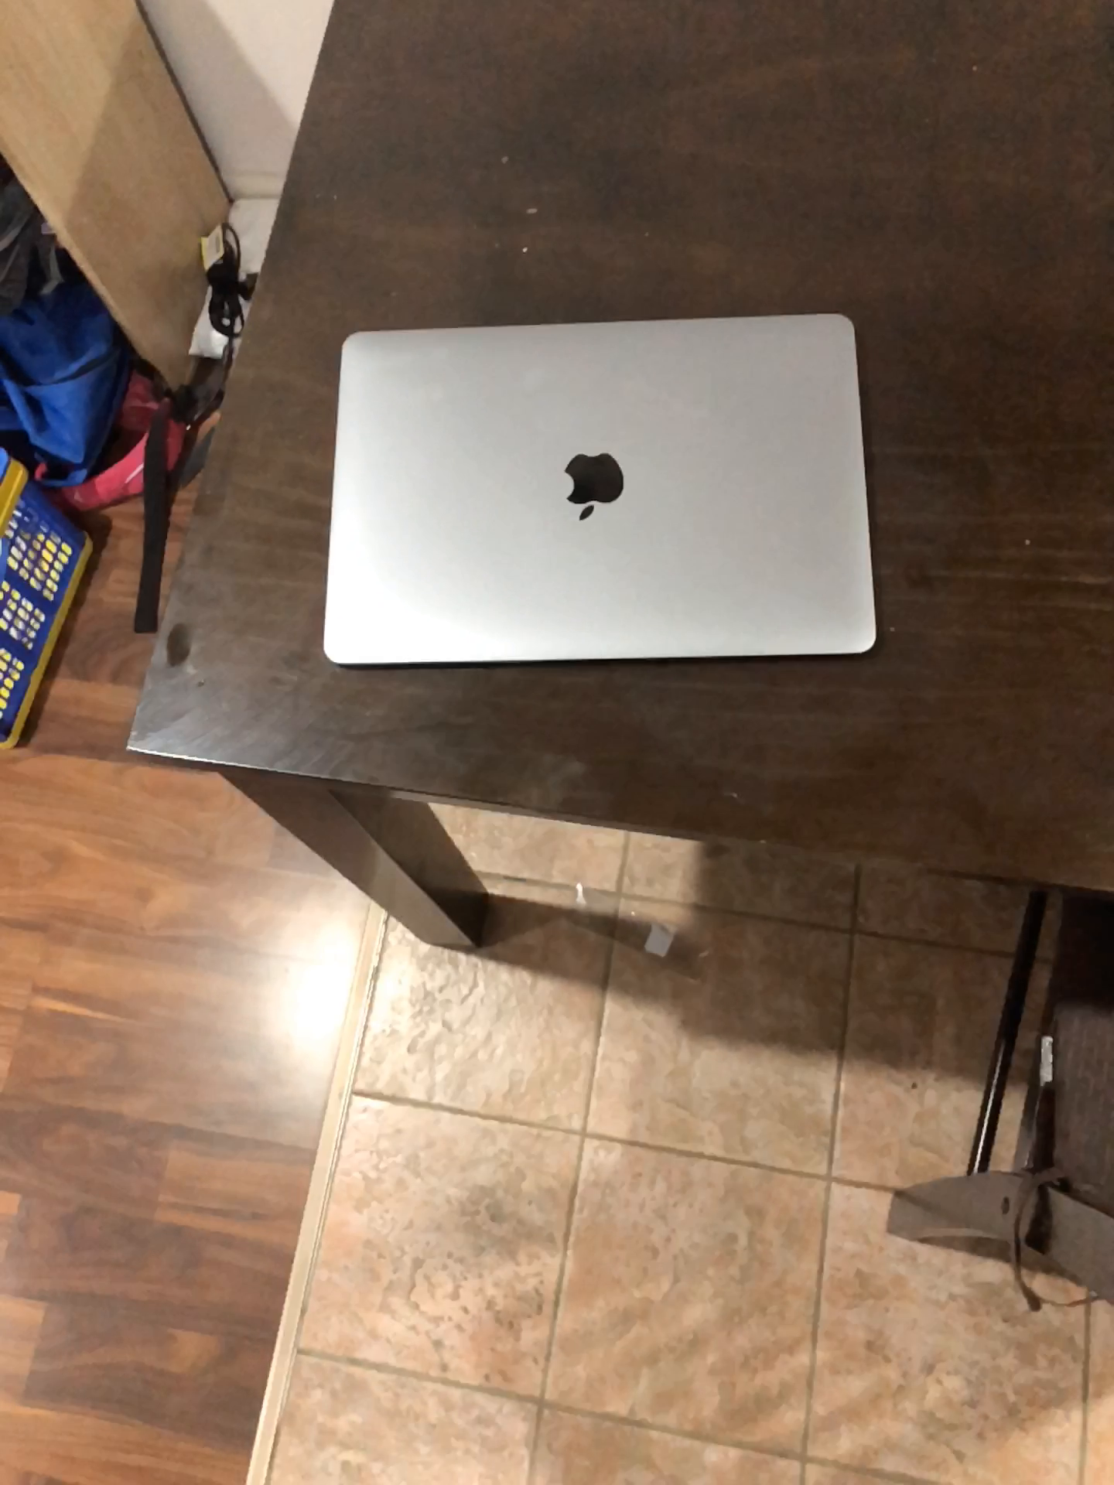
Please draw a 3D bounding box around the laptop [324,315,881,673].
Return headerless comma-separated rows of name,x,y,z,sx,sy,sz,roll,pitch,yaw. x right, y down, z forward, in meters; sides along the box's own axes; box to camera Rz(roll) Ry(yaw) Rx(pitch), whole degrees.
laptop,0.021,-0.133,0.636,0.275,0.002,0.196,-1,72,2
